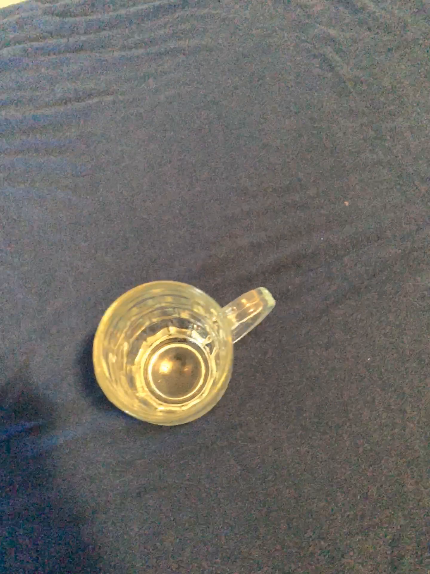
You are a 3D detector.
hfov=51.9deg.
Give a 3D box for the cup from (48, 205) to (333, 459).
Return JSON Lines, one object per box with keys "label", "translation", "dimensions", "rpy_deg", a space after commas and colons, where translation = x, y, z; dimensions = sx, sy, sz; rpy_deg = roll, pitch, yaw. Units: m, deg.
{"label": "cup", "translation": [-0.013, 0.034, 0.276], "dimensions": [0.120, 0.110, 0.080], "rpy_deg": [-31, 75, -11]}
